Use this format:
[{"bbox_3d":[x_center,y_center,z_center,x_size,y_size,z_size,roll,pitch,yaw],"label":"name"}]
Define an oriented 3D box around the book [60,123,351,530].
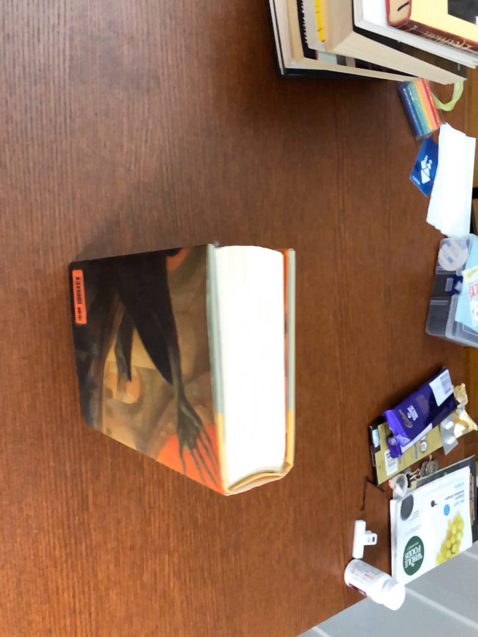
[{"bbox_3d":[-0.052,-0.001,0.412,0.070,0.299,0.210,-2,93,-37],"label":"book"}]
